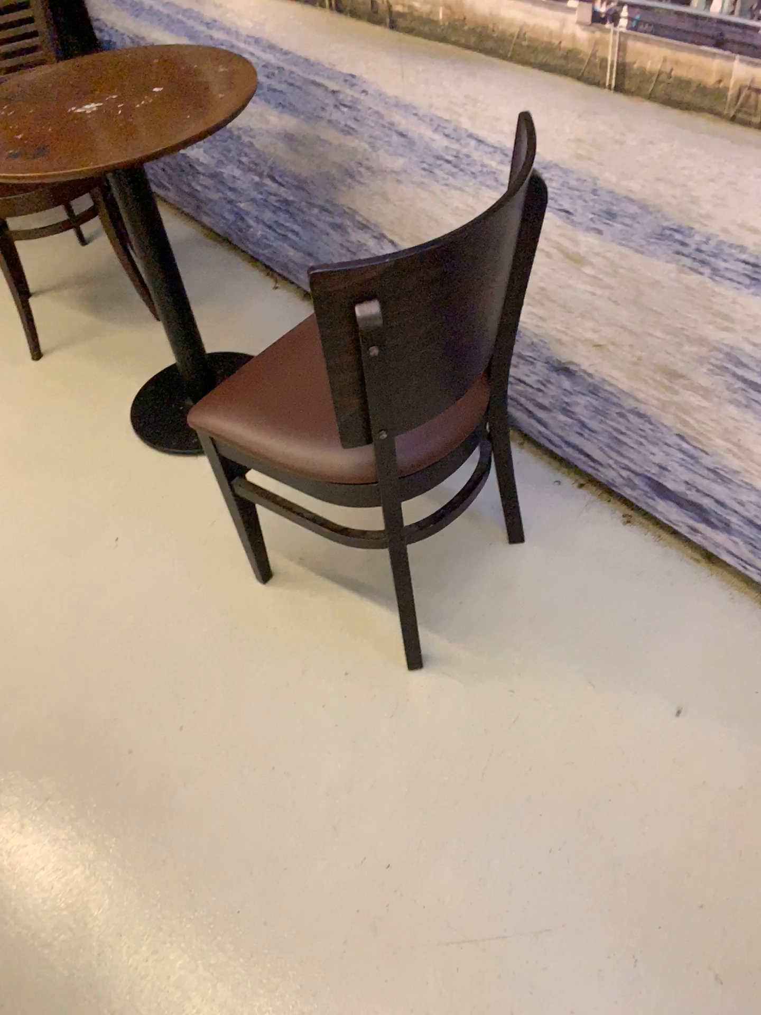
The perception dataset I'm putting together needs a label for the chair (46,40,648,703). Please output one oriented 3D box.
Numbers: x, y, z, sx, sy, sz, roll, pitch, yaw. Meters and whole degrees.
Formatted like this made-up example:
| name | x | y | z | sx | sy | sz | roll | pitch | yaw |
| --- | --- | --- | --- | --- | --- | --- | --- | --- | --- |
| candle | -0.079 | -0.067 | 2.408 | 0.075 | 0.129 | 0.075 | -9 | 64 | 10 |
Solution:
| name | x | y | z | sx | sy | sz | roll | pitch | yaw |
| --- | --- | --- | --- | --- | --- | --- | --- | --- | --- |
| chair | -0.001 | -0.216 | 1.222 | 0.519 | 0.729 | 0.560 | 29 | 58 | 32 |
